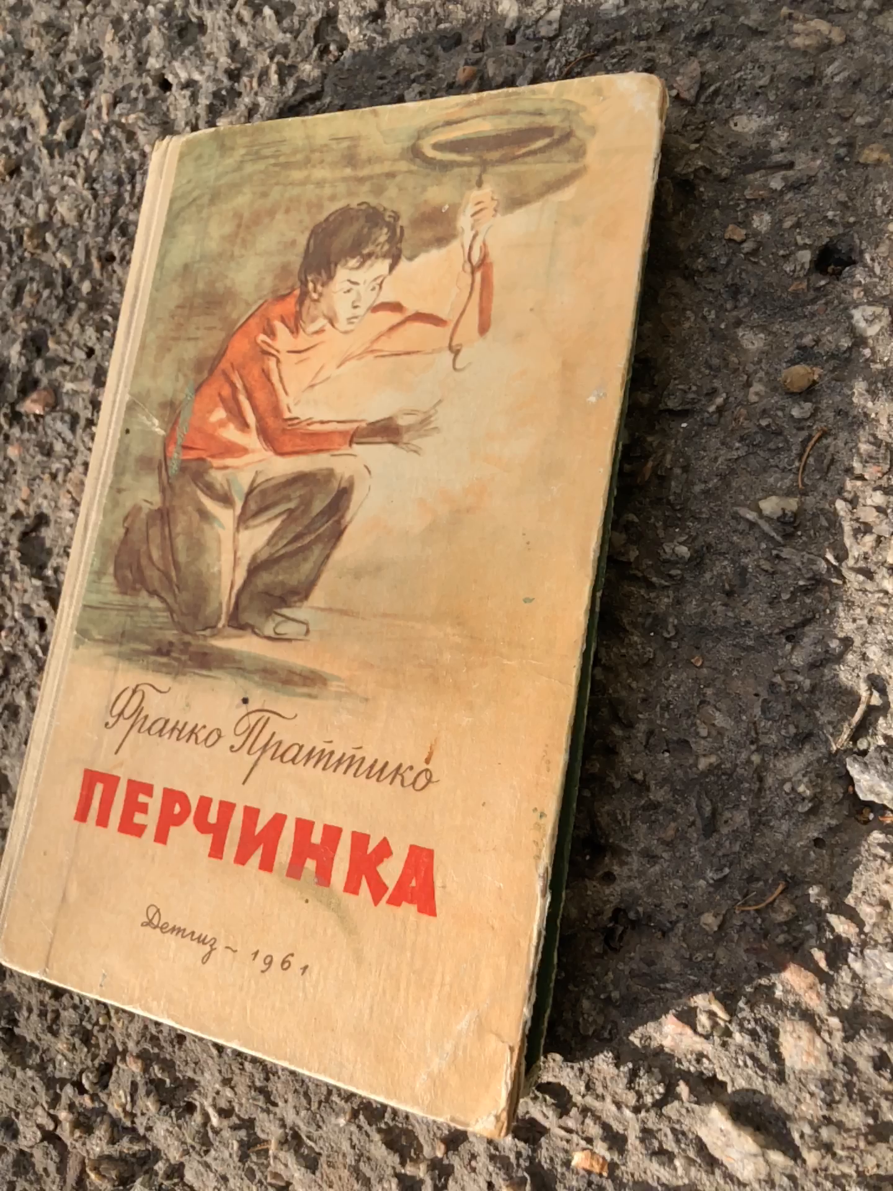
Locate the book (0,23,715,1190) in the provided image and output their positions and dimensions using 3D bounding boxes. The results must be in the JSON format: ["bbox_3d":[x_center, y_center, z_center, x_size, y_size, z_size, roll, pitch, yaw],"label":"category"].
[{"bbox_3d":[-0.027,-0.009,0.211,0.132,0.030,0.203,7,83,24],"label":"book"}]
